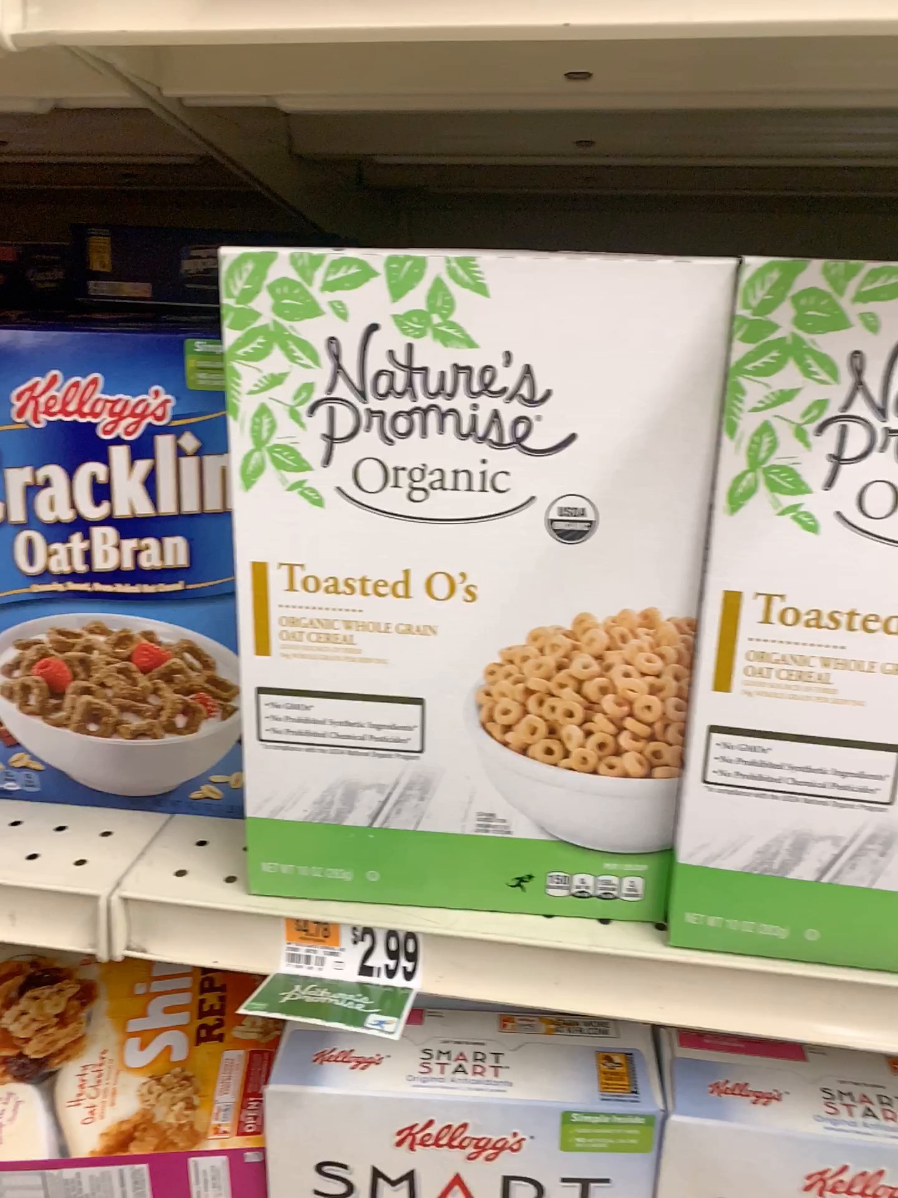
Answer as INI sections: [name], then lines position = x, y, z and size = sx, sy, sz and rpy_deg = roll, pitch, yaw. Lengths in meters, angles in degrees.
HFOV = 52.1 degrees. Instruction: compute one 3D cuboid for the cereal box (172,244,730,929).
[cereal box]
position = 0.000, -0.003, 0.388
size = 0.190, 0.269, 0.070
rpy_deg = 3, 19, 5
